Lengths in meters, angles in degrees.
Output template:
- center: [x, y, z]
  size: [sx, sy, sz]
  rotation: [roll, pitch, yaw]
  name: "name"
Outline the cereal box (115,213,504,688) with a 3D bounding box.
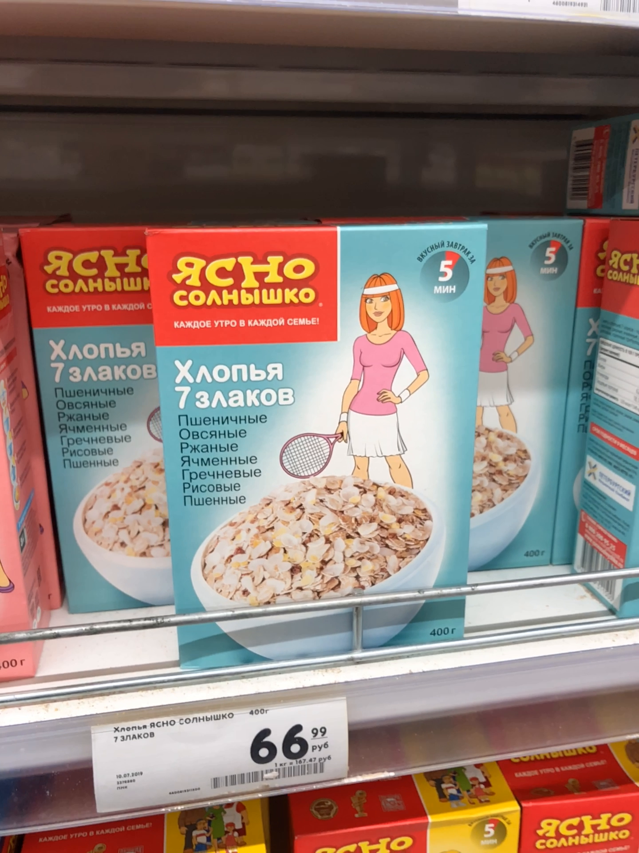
- center: [-0.004, 0.008, 0.306]
  size: [0.140, 0.189, 0.050]
  rotation: [-3, 17, -8]
  name: "cereal box"
